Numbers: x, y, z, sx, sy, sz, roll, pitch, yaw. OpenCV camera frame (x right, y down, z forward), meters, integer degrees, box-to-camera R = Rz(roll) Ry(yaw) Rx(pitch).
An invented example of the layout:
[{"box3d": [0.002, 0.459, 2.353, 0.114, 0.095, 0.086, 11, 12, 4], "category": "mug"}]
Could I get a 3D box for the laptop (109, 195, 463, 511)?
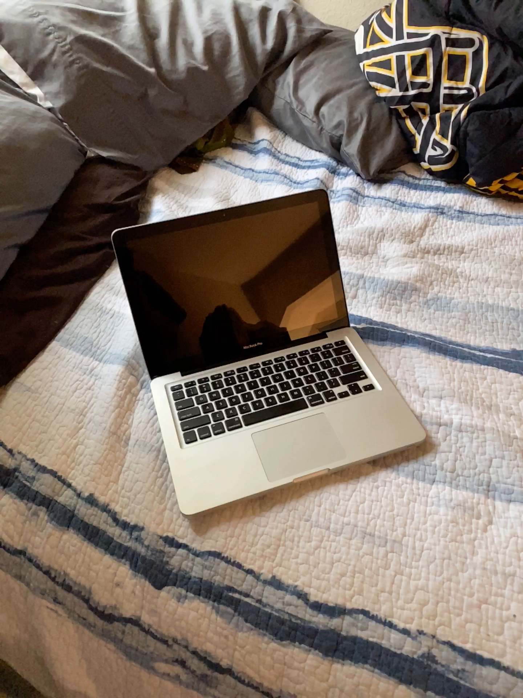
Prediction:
[{"box3d": [0.002, -0.021, 0.702, 0.319, 0.169, 0.347, -15, 45, -11], "category": "laptop"}]
